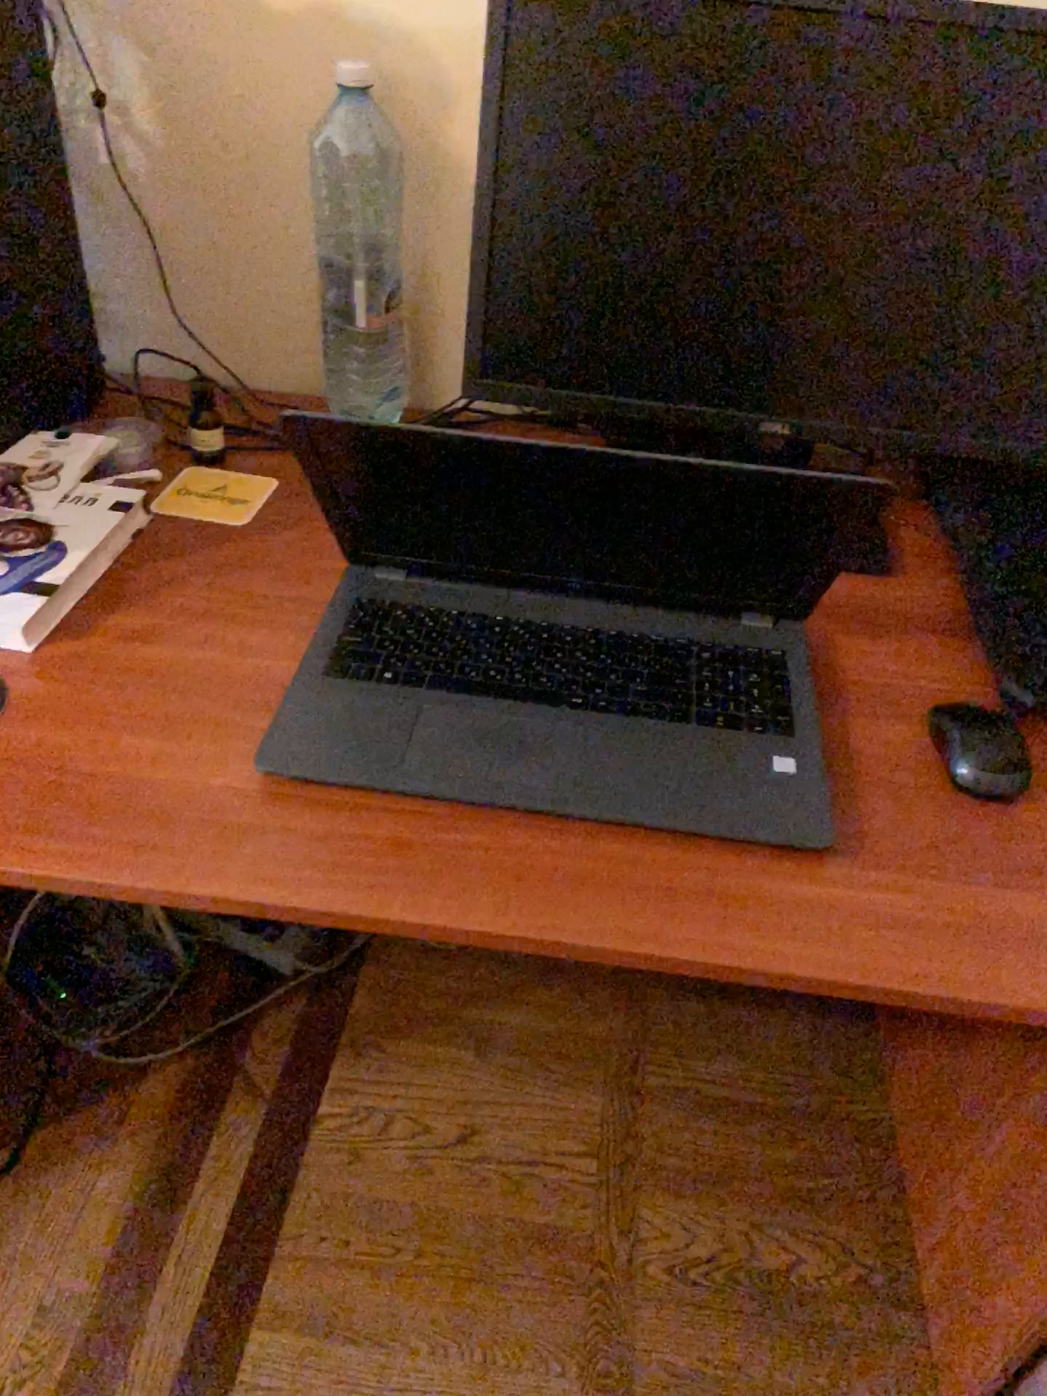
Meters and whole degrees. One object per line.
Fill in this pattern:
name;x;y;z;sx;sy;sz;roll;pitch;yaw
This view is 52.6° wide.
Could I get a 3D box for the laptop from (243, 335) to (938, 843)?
laptop;0.036;-0.081;0.695;0.359;0.191;0.233;7;39;3
